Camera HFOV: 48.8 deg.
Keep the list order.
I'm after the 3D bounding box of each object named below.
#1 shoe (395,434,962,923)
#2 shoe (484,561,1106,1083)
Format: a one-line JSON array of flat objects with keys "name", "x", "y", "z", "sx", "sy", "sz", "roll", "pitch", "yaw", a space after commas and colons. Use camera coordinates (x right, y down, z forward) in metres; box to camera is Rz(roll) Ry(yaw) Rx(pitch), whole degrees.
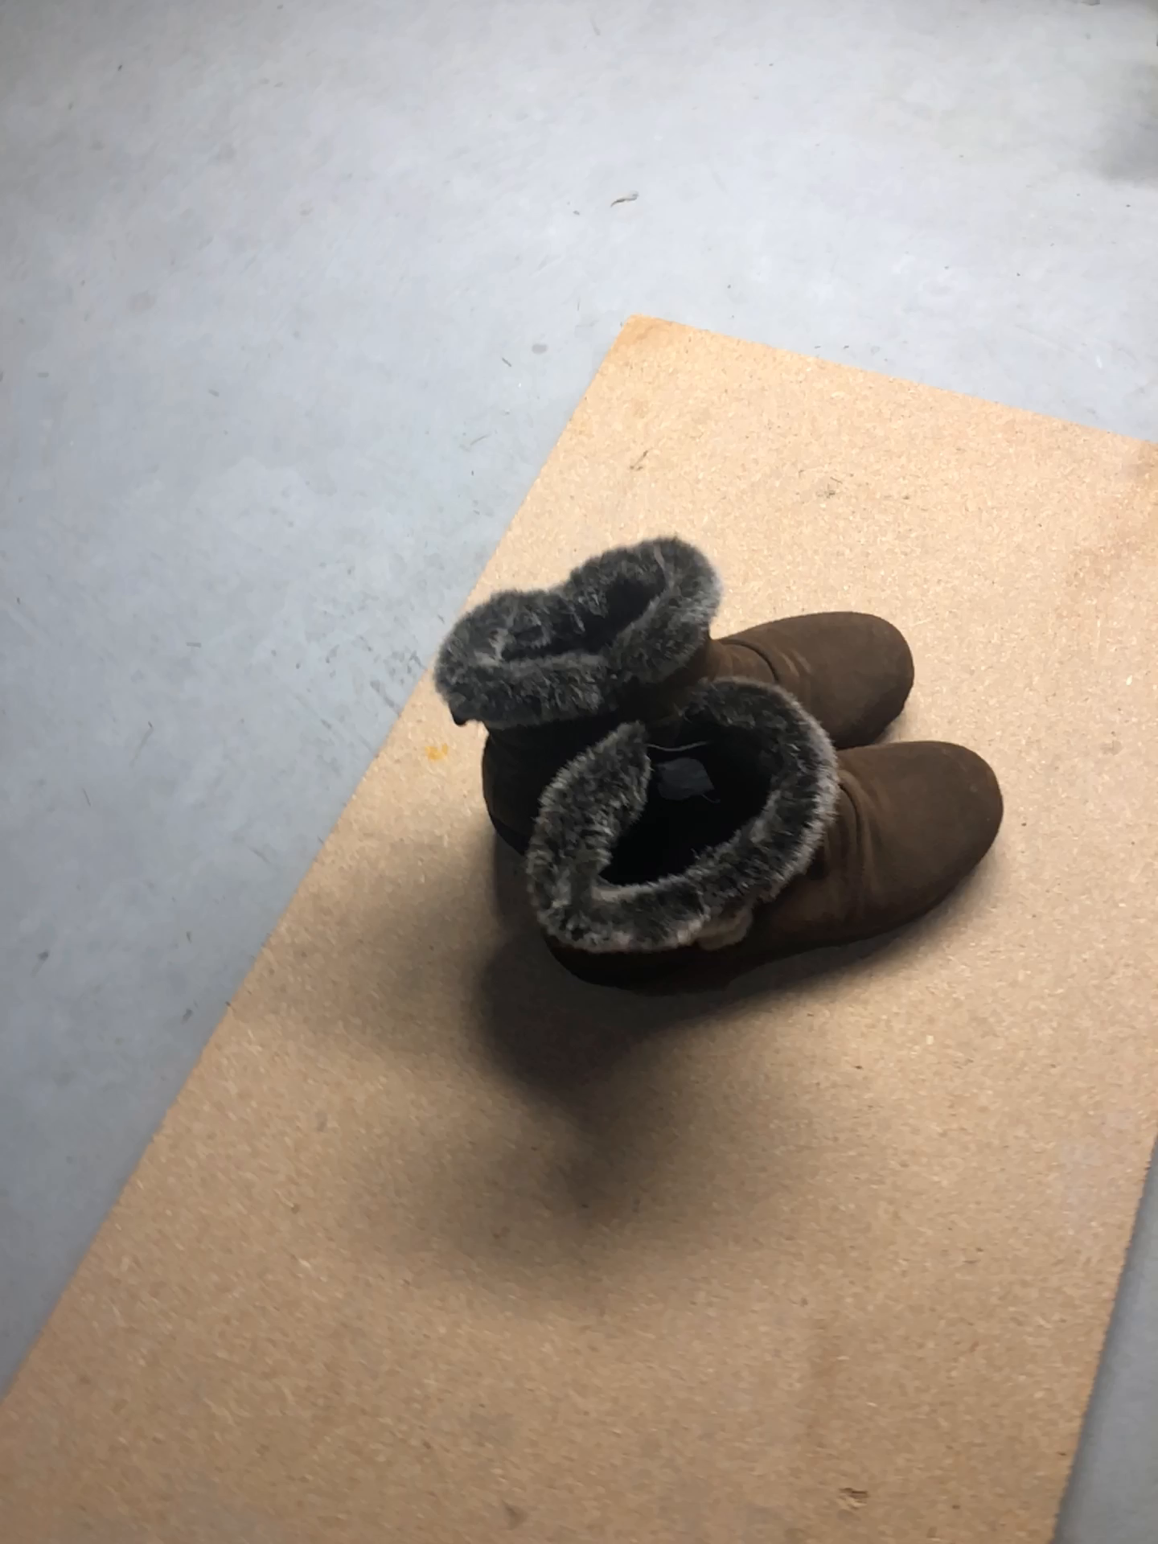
[{"name": "shoe", "x": 0.055, "y": -0.042, "z": 0.716, "sx": 0.260, "sy": 0.200, "sz": 0.100, "roll": -21, "pitch": 62, "yaw": -5}, {"name": "shoe", "x": 0.102, "y": 0.038, "z": 0.655, "sx": 0.250, "sy": 0.220, "sz": 0.100, "roll": -21, "pitch": 62, "yaw": -5}]
